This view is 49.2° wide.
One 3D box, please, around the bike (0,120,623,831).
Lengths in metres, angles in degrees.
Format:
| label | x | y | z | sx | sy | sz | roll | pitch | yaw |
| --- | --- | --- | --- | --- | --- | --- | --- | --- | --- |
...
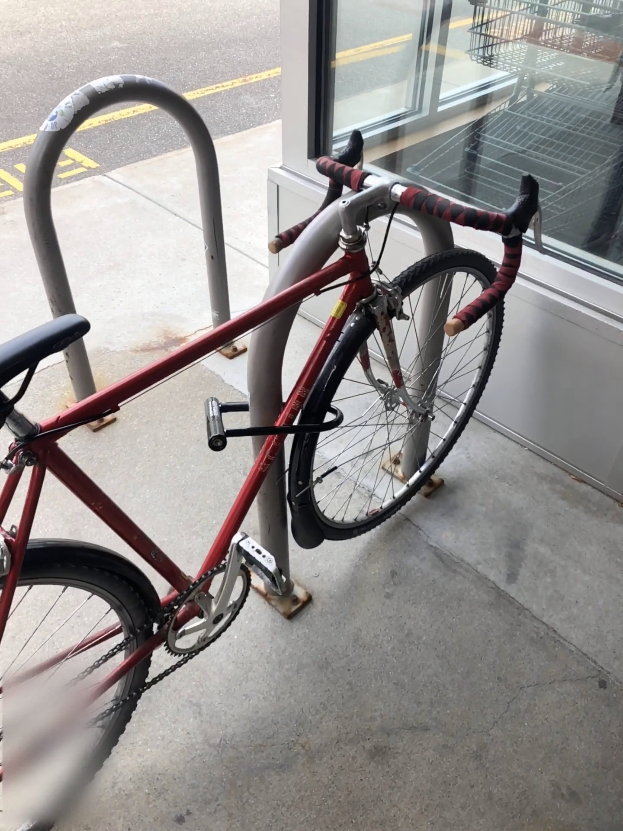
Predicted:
| label | x | y | z | sx | sy | sz | roll | pitch | yaw |
| --- | --- | --- | --- | --- | --- | --- | --- | --- | --- |
| bike | -0.166 | 0.197 | 1.178 | 0.459 | 0.787 | 1.695 | 33 | 53 | 30 |
